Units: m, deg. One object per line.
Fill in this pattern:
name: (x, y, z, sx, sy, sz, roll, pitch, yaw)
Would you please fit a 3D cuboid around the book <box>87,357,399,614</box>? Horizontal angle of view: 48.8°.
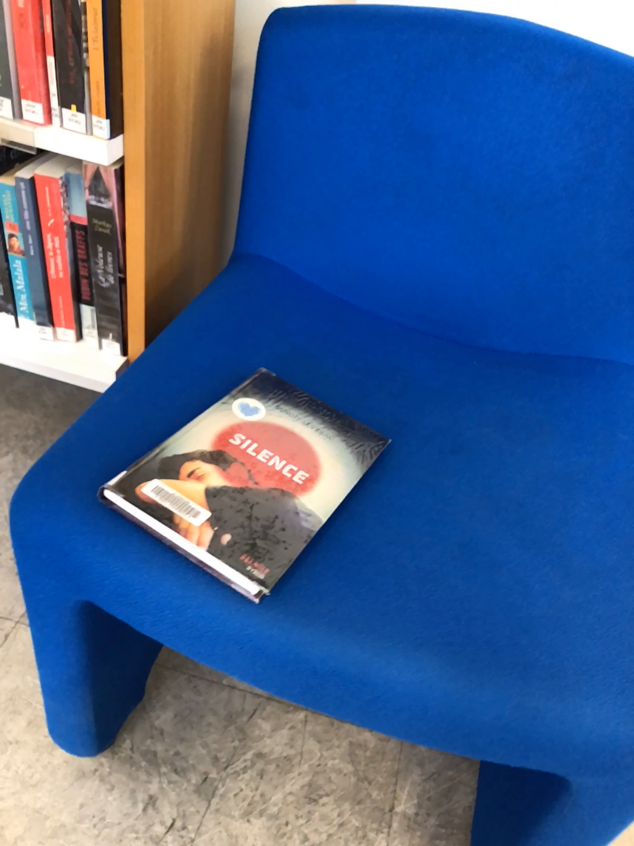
book: (-0.047, 0.032, 0.548, 0.146, 0.023, 0.212, 30, 41, 16)
